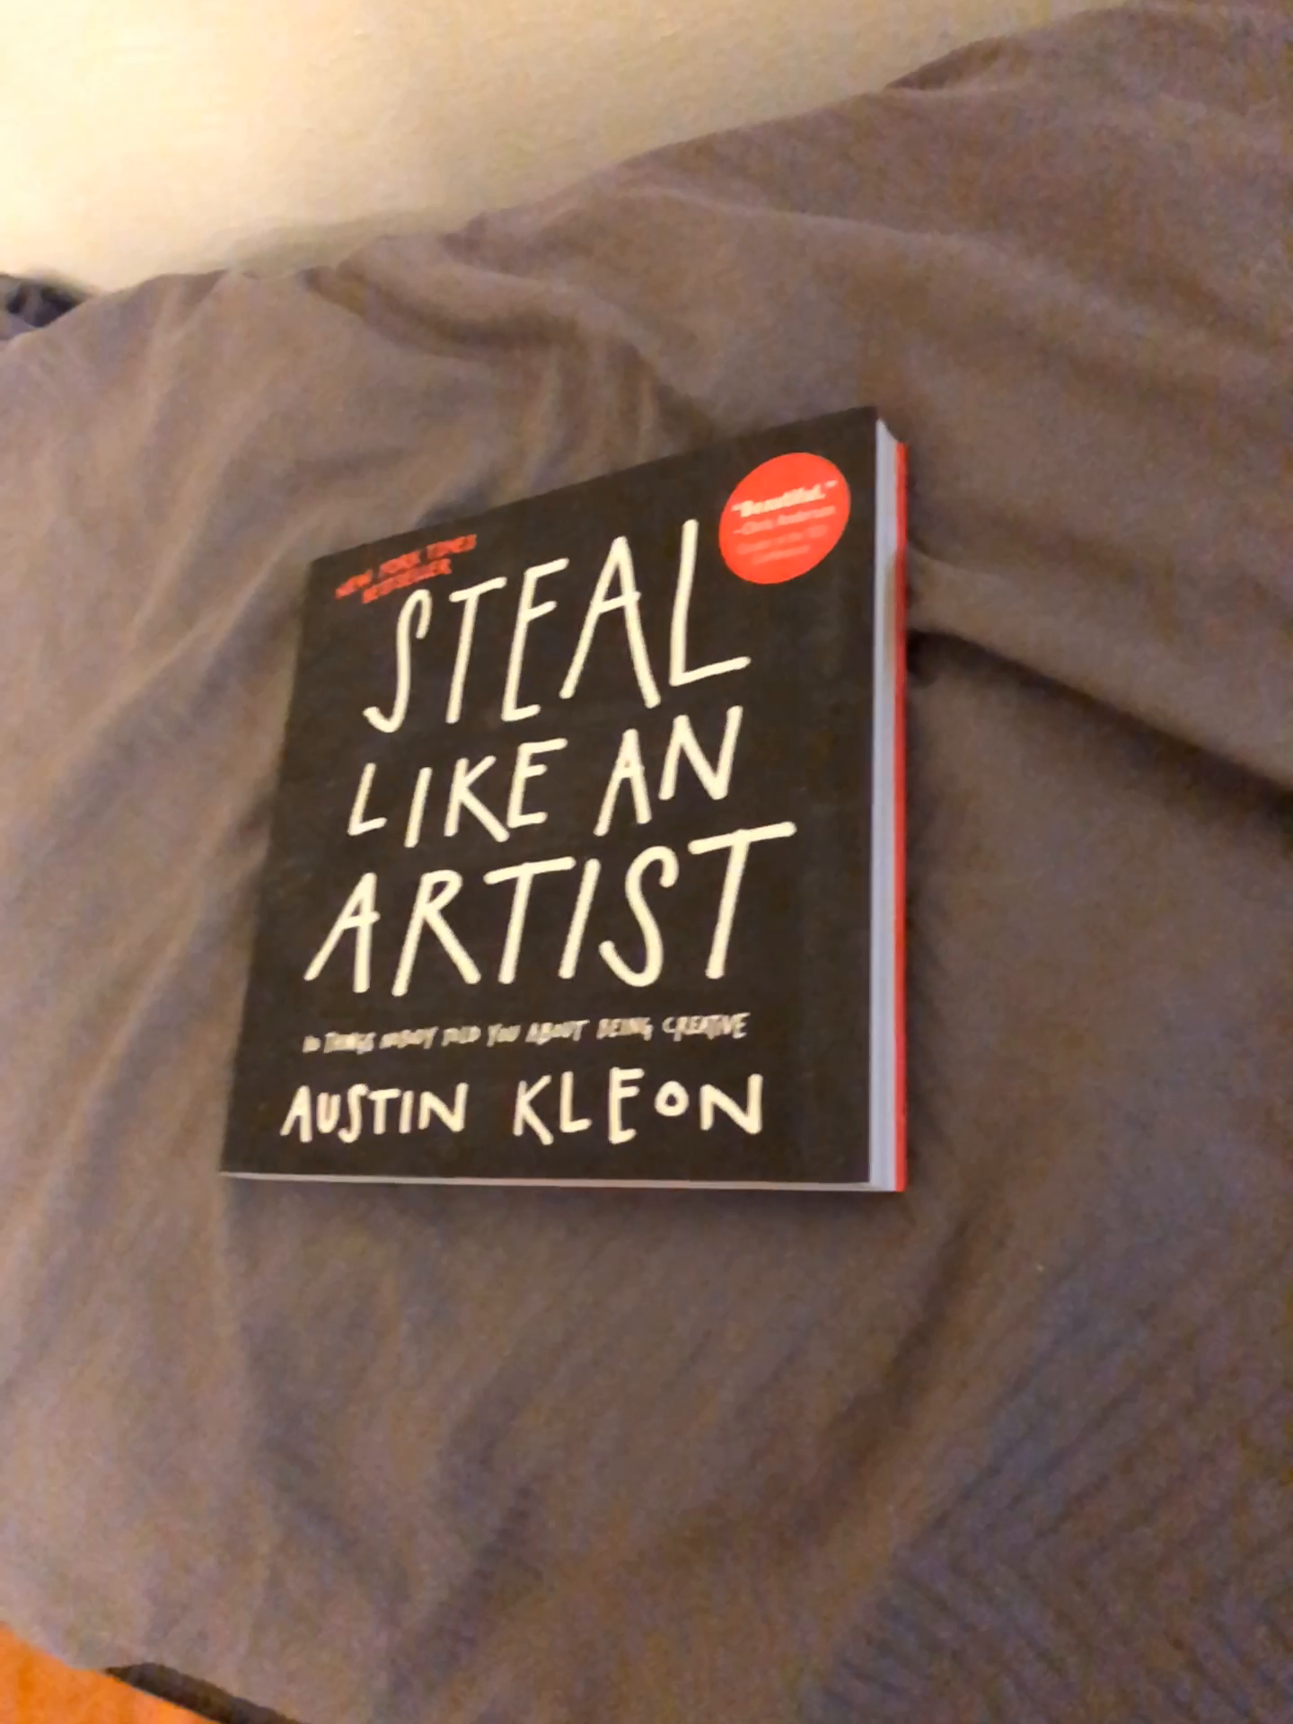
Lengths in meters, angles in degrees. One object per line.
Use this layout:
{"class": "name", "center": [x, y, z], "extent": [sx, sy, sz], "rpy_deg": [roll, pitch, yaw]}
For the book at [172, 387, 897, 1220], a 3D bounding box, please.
{"class": "book", "center": [-0.026, -0.008, 0.309], "extent": [0.160, 0.020, 0.160], "rpy_deg": [-6, 71, 29]}
